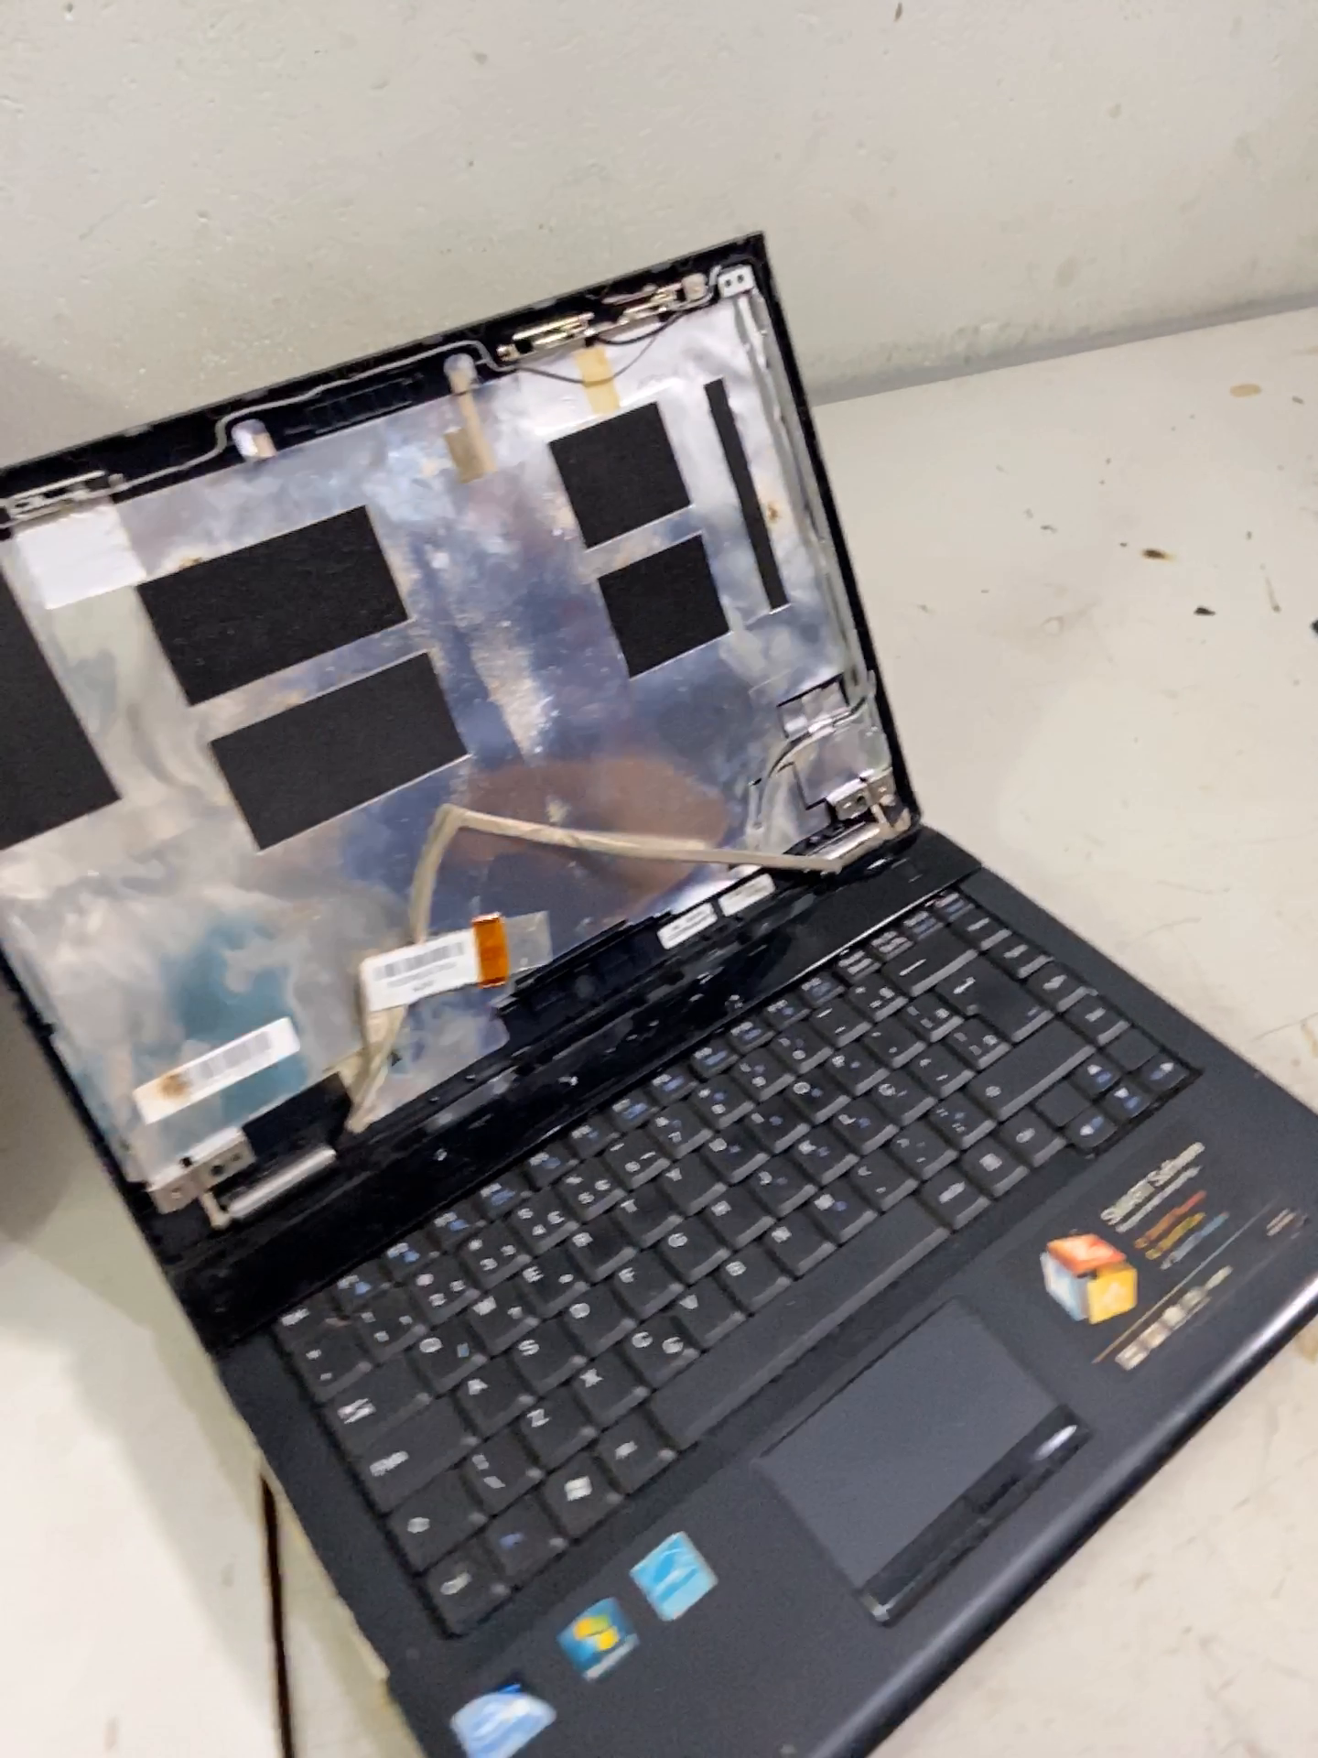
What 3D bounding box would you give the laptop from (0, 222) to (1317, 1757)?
[{"bbox_3d":[0.011,0.010,0.391,0.333,0.206,0.336,-29,51,-24],"label":"laptop"}]
